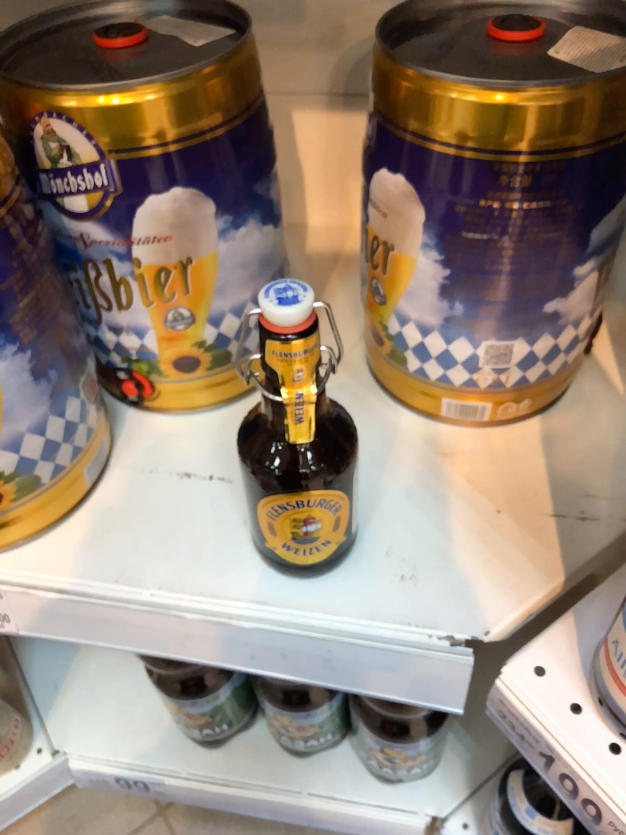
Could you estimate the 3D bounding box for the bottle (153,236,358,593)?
[{"bbox_3d":[-0.019,0.009,0.376,0.080,0.189,0.080,-2,47,3],"label":"bottle"}]
